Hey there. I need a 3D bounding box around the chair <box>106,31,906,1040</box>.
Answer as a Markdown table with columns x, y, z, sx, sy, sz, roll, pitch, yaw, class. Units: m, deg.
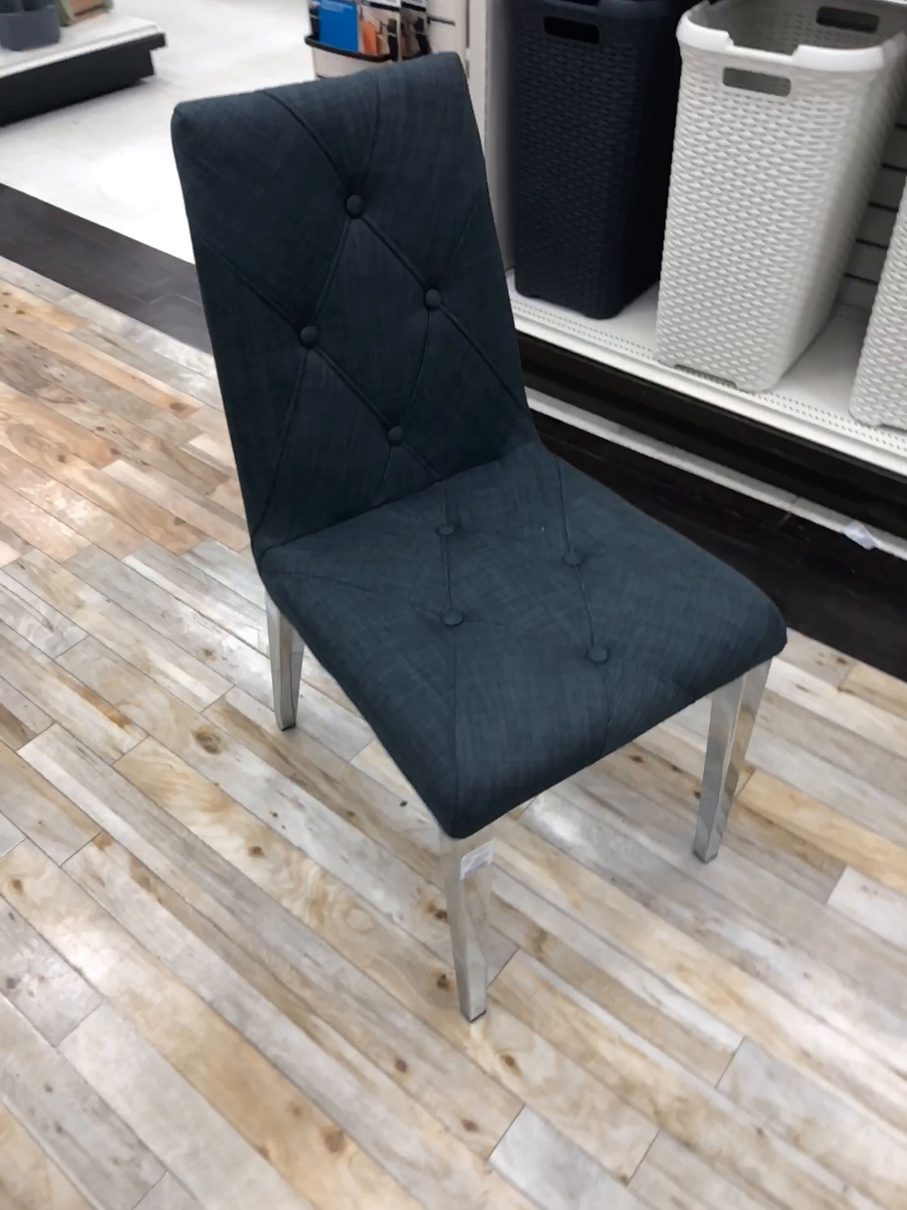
| x | y | z | sx | sy | sz | roll | pitch | yaw | class |
| --- | --- | --- | --- | --- | --- | --- | --- | --- | --- |
| 0.033 | -0.066 | 1.127 | 0.450 | 0.867 | 0.582 | -25 | 48 | -24 | chair |
